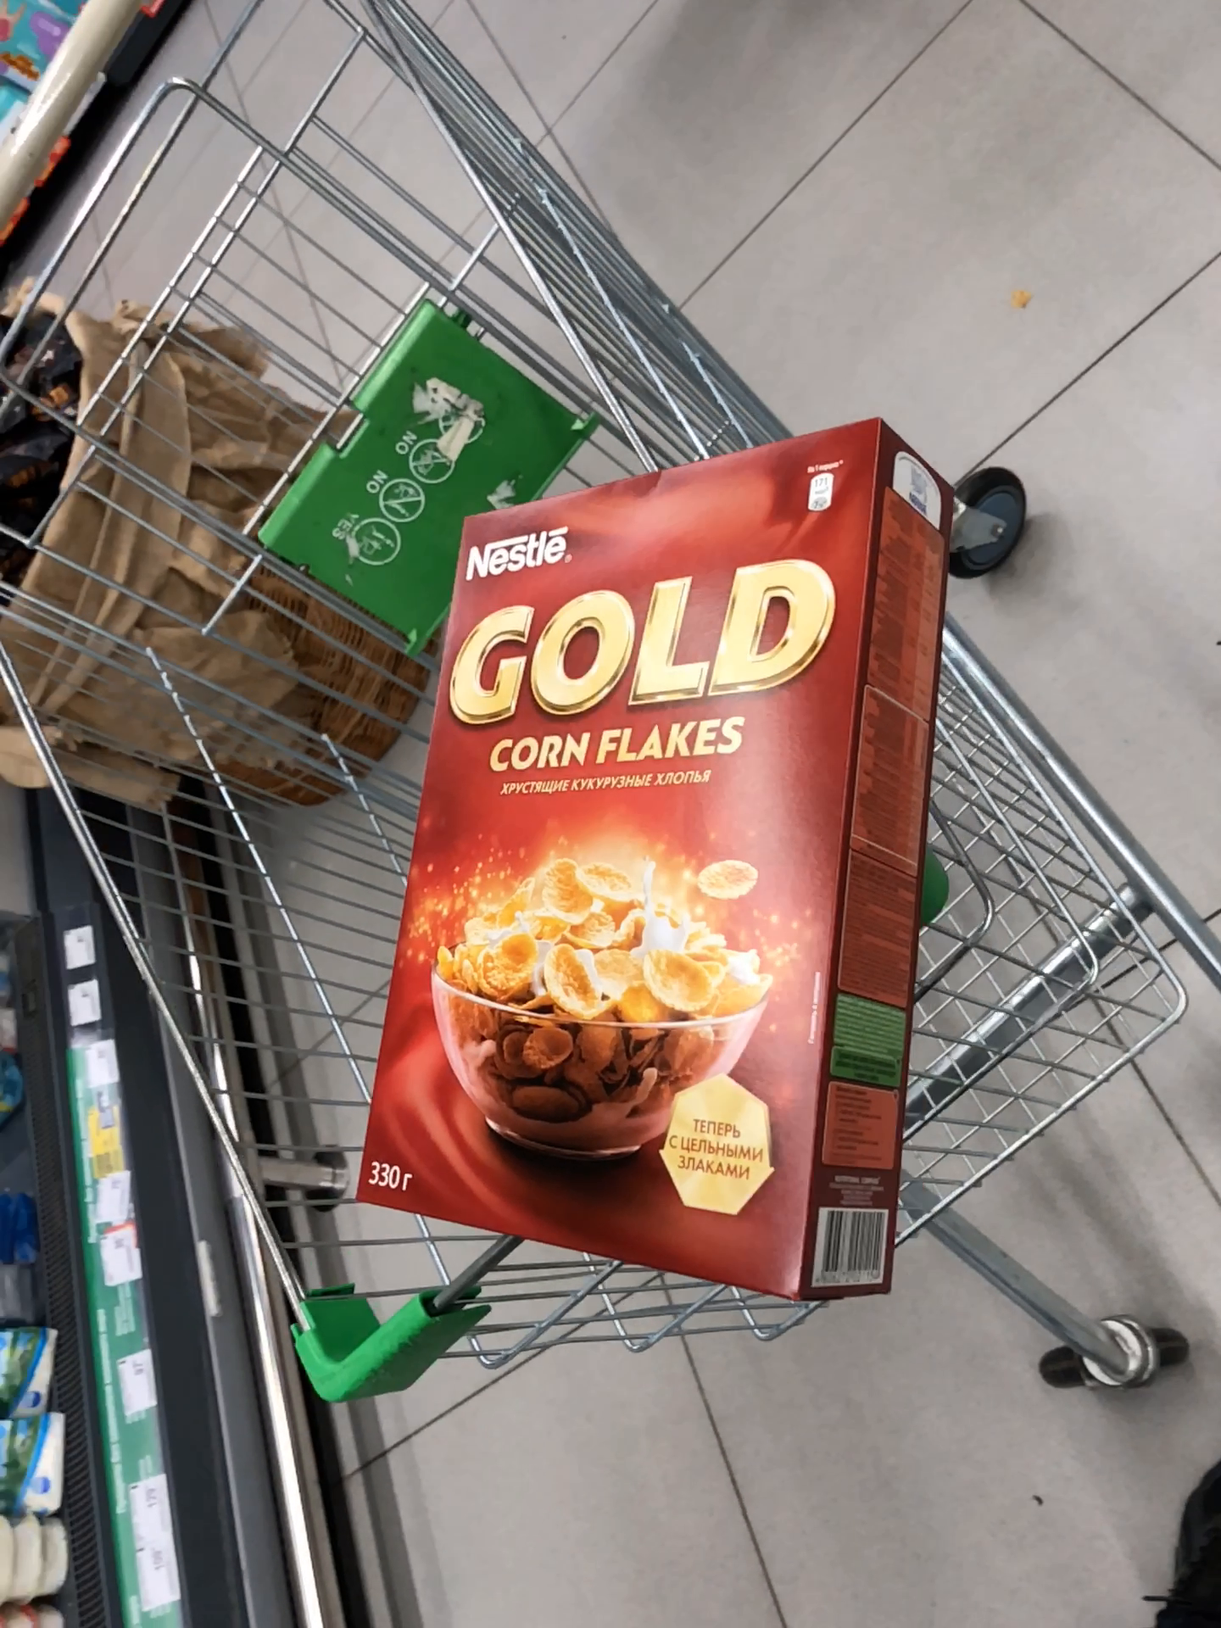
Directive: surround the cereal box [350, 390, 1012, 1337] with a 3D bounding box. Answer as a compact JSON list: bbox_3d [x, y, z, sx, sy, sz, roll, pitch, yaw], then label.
[{"bbox_3d":[0.020,0.015,0.480,0.211,0.060,0.280,-2,75,41],"label":"cereal box"}]
